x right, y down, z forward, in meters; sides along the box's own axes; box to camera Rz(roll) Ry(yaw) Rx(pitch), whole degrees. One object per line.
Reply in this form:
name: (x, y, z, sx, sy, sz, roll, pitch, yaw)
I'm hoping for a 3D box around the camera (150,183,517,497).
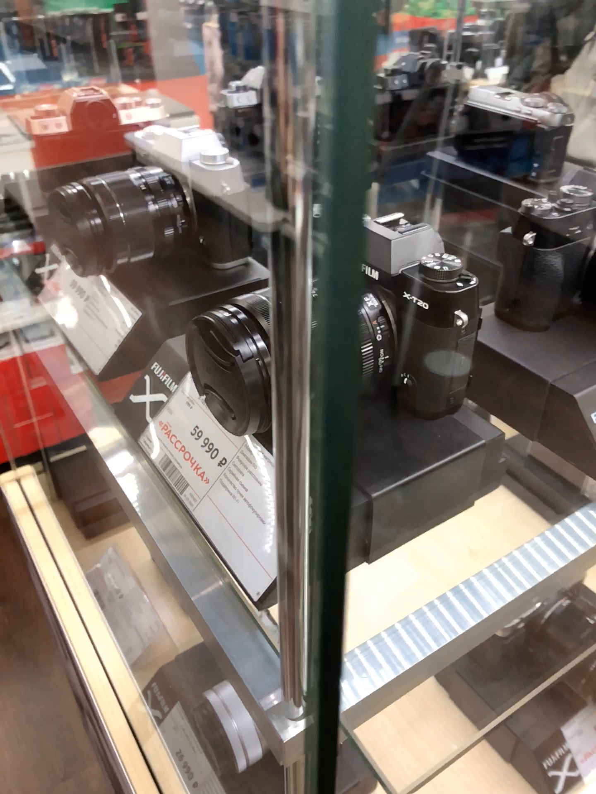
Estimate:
camera: (0.013, -0.039, 0.328, 0.121, 0.081, 0.121, -21, 40, -27)
